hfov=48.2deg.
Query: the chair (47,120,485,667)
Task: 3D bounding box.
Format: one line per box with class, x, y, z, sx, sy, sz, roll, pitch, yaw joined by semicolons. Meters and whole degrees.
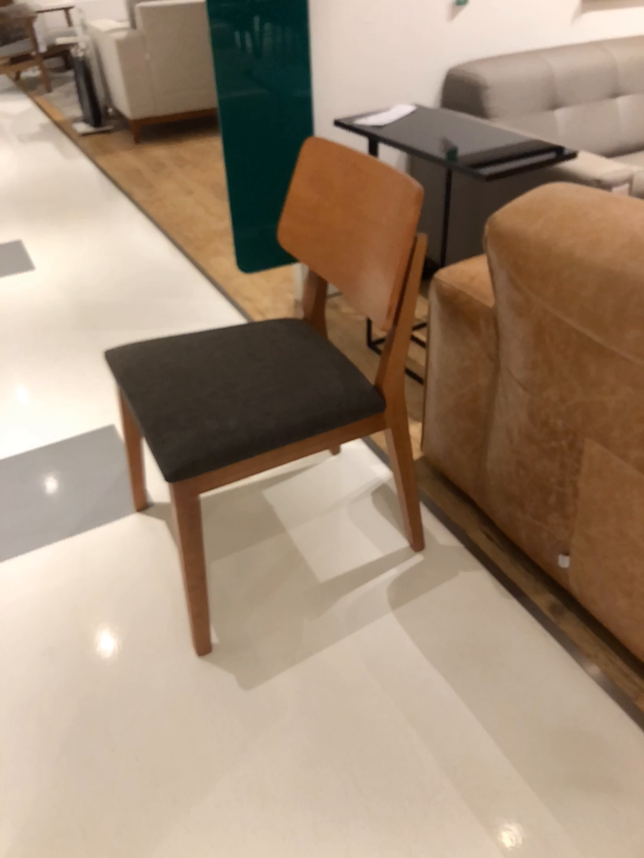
chair;-0.096;-0.086;1.384;0.561;0.794;0.483;-18;38;-20
